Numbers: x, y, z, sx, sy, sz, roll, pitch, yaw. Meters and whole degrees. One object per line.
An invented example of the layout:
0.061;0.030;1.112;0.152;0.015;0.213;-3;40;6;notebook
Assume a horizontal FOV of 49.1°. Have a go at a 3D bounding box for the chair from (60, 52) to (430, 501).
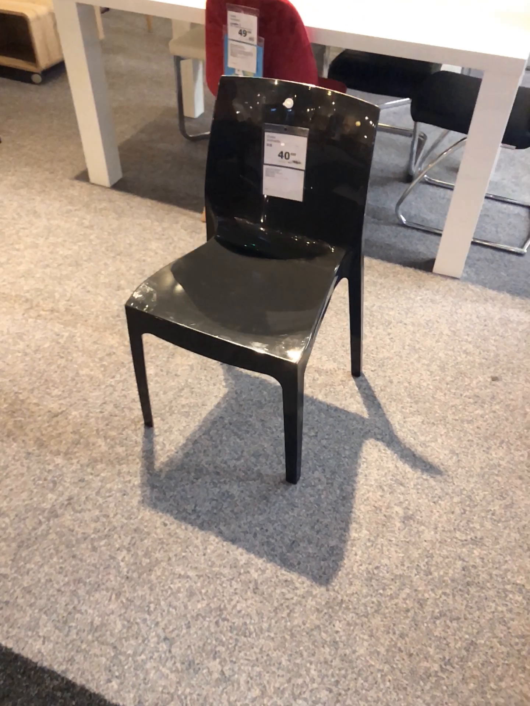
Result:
-0.010;-0.178;1.374;0.520;0.765;0.574;17;46;14;chair
